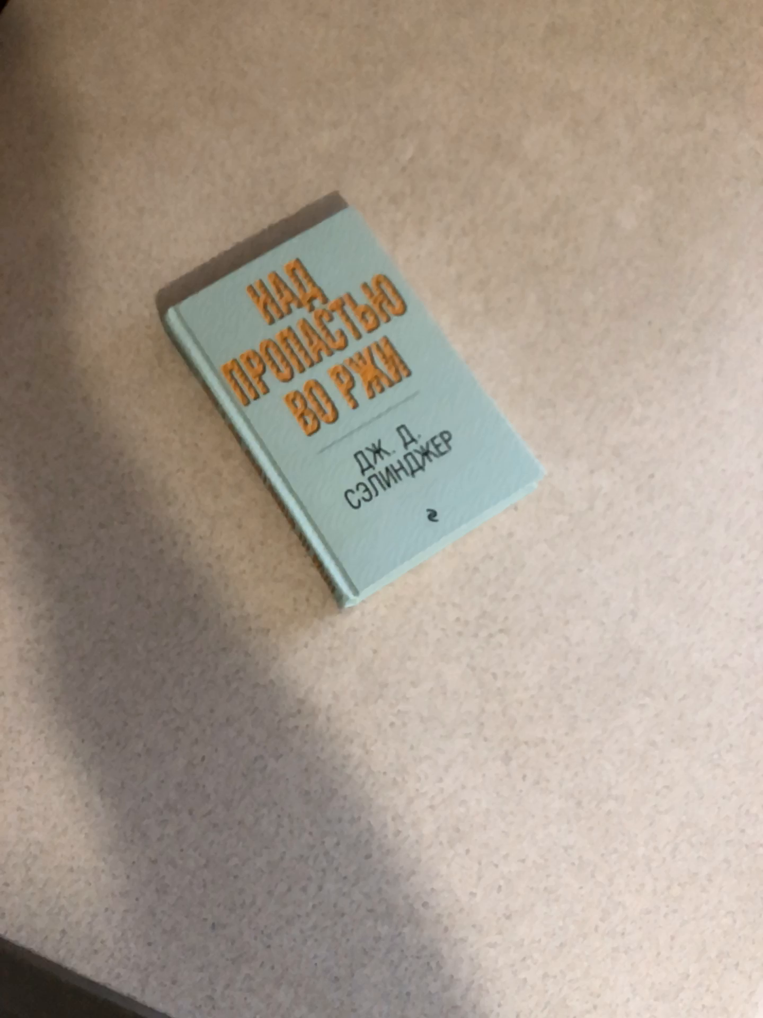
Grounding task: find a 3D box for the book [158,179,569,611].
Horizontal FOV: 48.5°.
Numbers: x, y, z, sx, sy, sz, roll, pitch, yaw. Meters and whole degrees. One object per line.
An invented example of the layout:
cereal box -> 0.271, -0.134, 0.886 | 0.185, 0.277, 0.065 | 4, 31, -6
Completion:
book -> -0.012, -0.059, 0.410 | 0.118, 0.020, 0.180 | -31, 77, -6
